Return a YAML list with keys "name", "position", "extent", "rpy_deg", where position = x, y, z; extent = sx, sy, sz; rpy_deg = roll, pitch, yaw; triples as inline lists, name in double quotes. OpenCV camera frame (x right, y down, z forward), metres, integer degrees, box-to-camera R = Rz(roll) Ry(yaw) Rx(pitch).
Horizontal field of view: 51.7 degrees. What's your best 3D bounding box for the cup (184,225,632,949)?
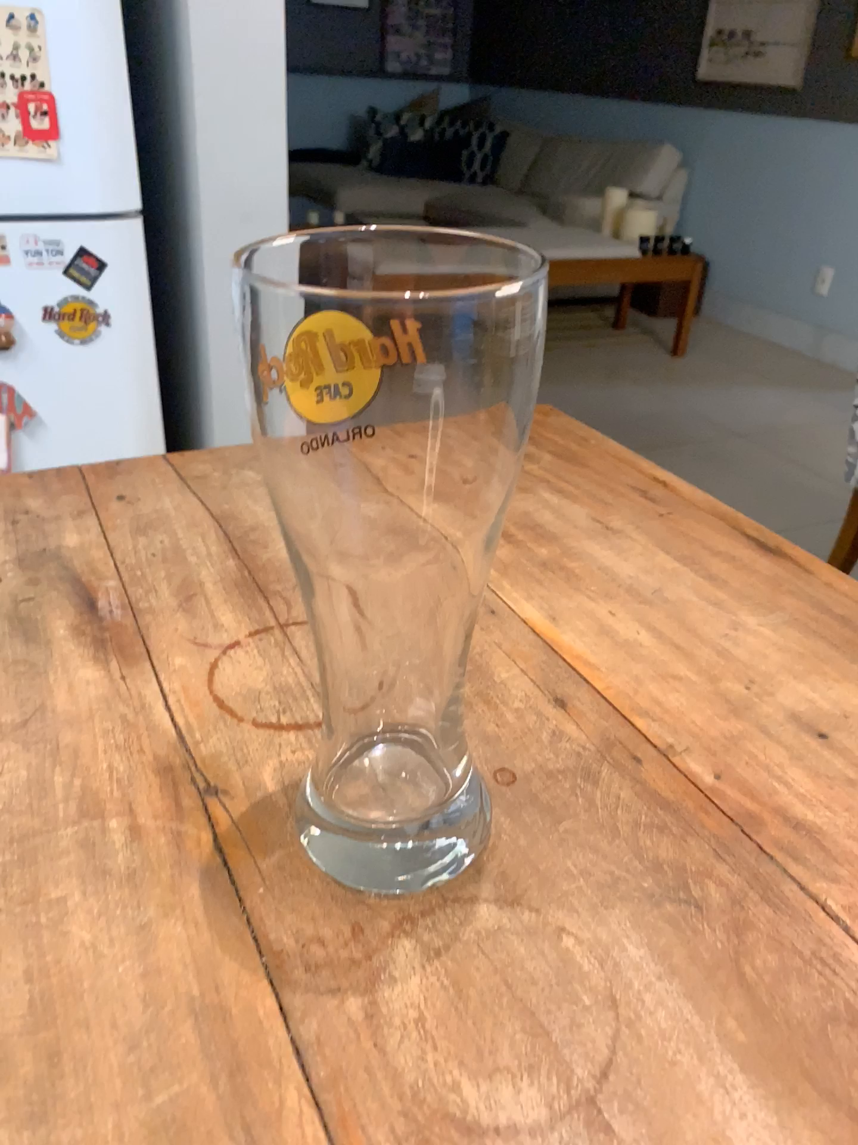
- name: "cup"
  position: [-0.013, 0.001, 0.289]
  extent: [0.090, 0.201, 0.090]
  rpy_deg: [2, 27, -1]
